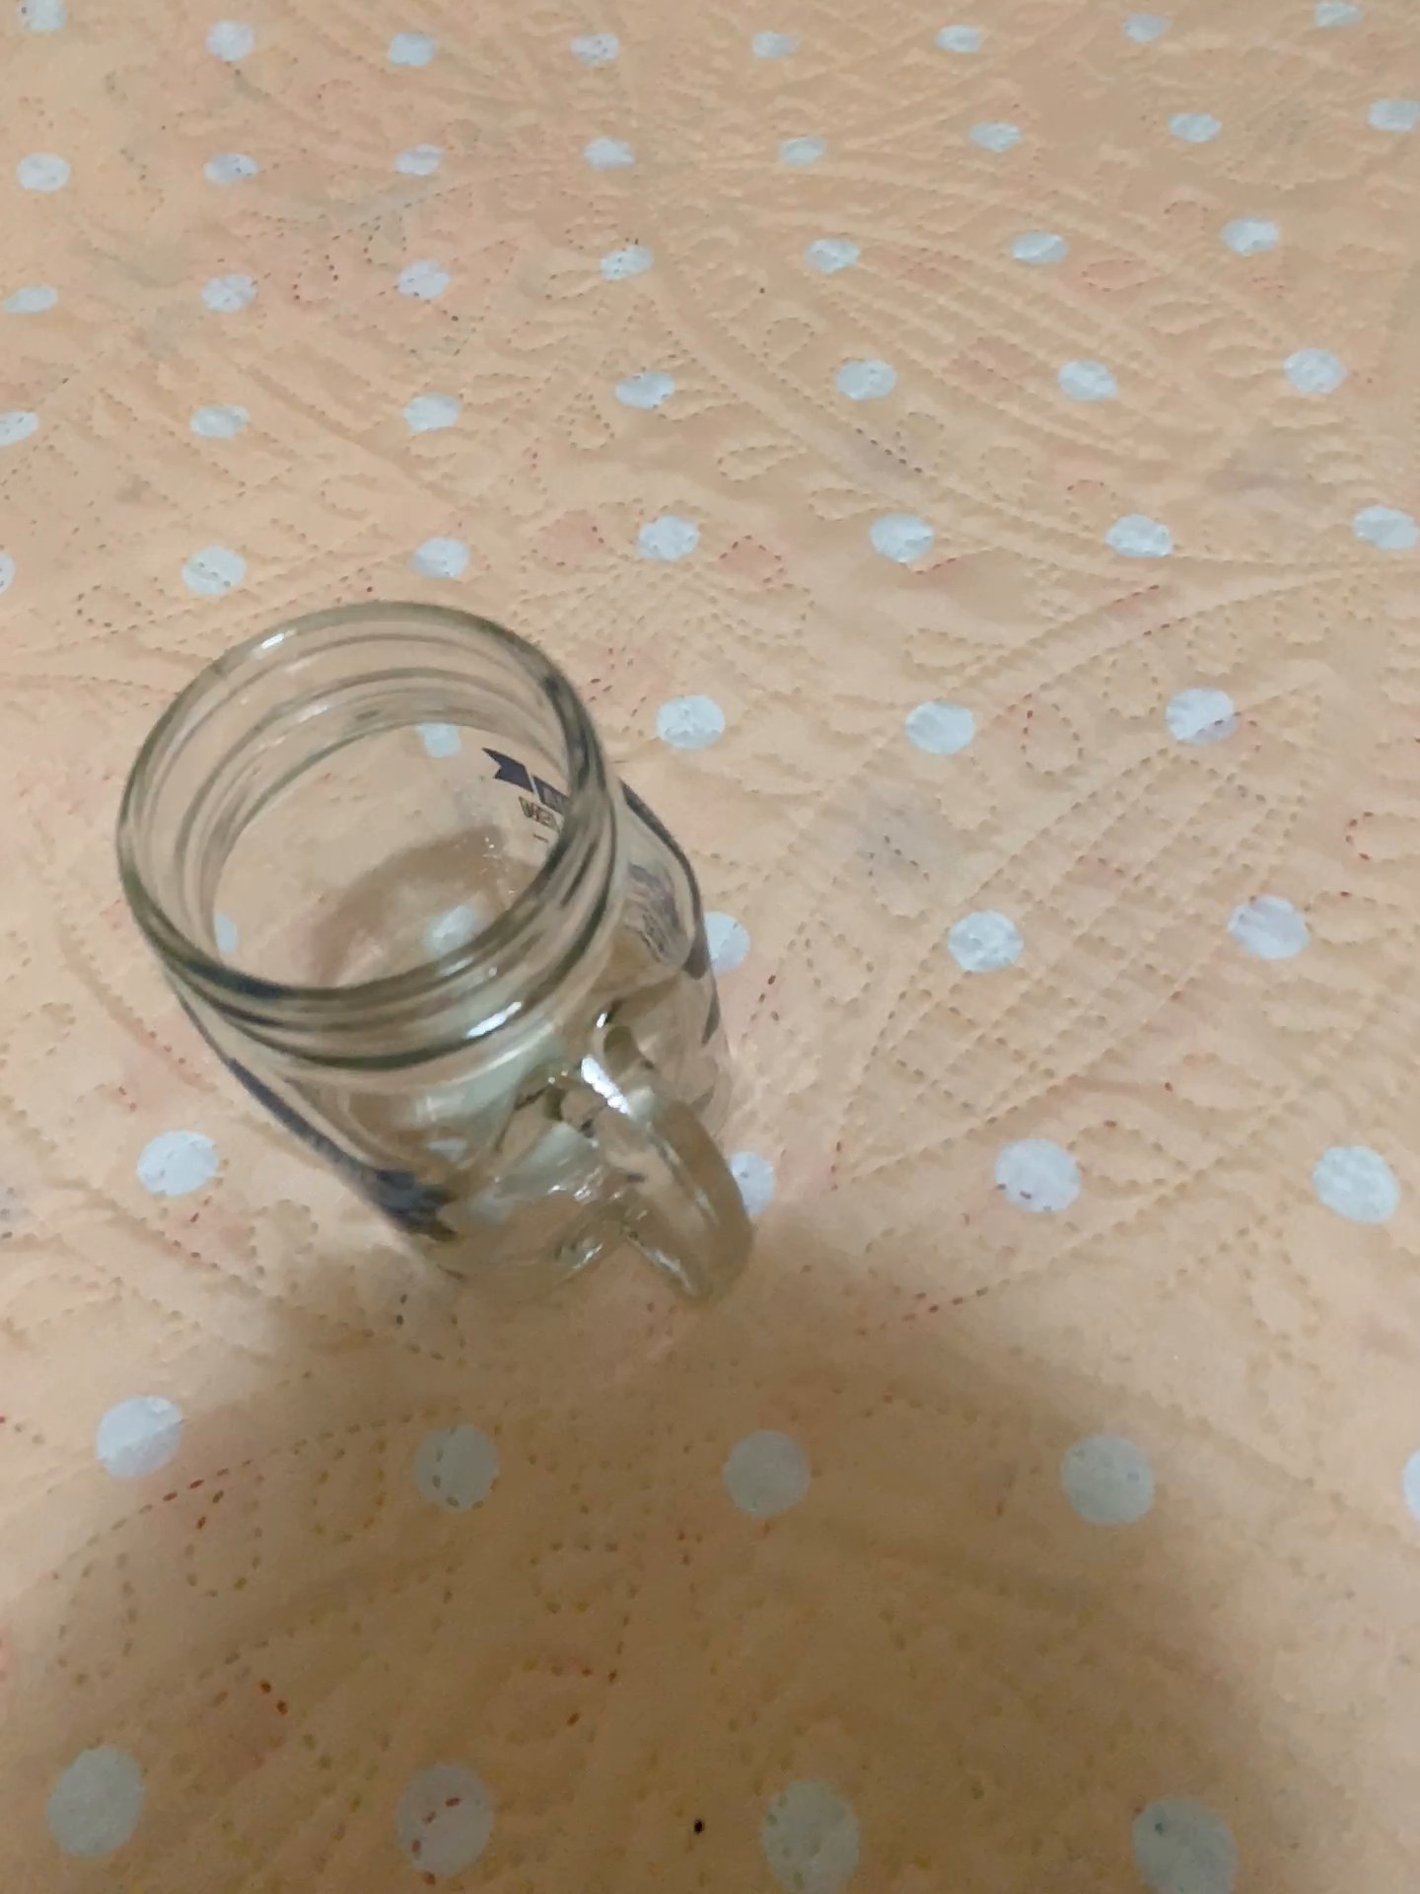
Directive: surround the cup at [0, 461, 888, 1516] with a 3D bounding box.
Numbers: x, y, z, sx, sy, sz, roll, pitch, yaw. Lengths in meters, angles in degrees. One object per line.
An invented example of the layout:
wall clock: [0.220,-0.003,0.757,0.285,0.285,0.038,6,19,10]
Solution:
cup: [-0.038,0.014,0.234,0.080,0.120,0.100,-37,65,-17]
